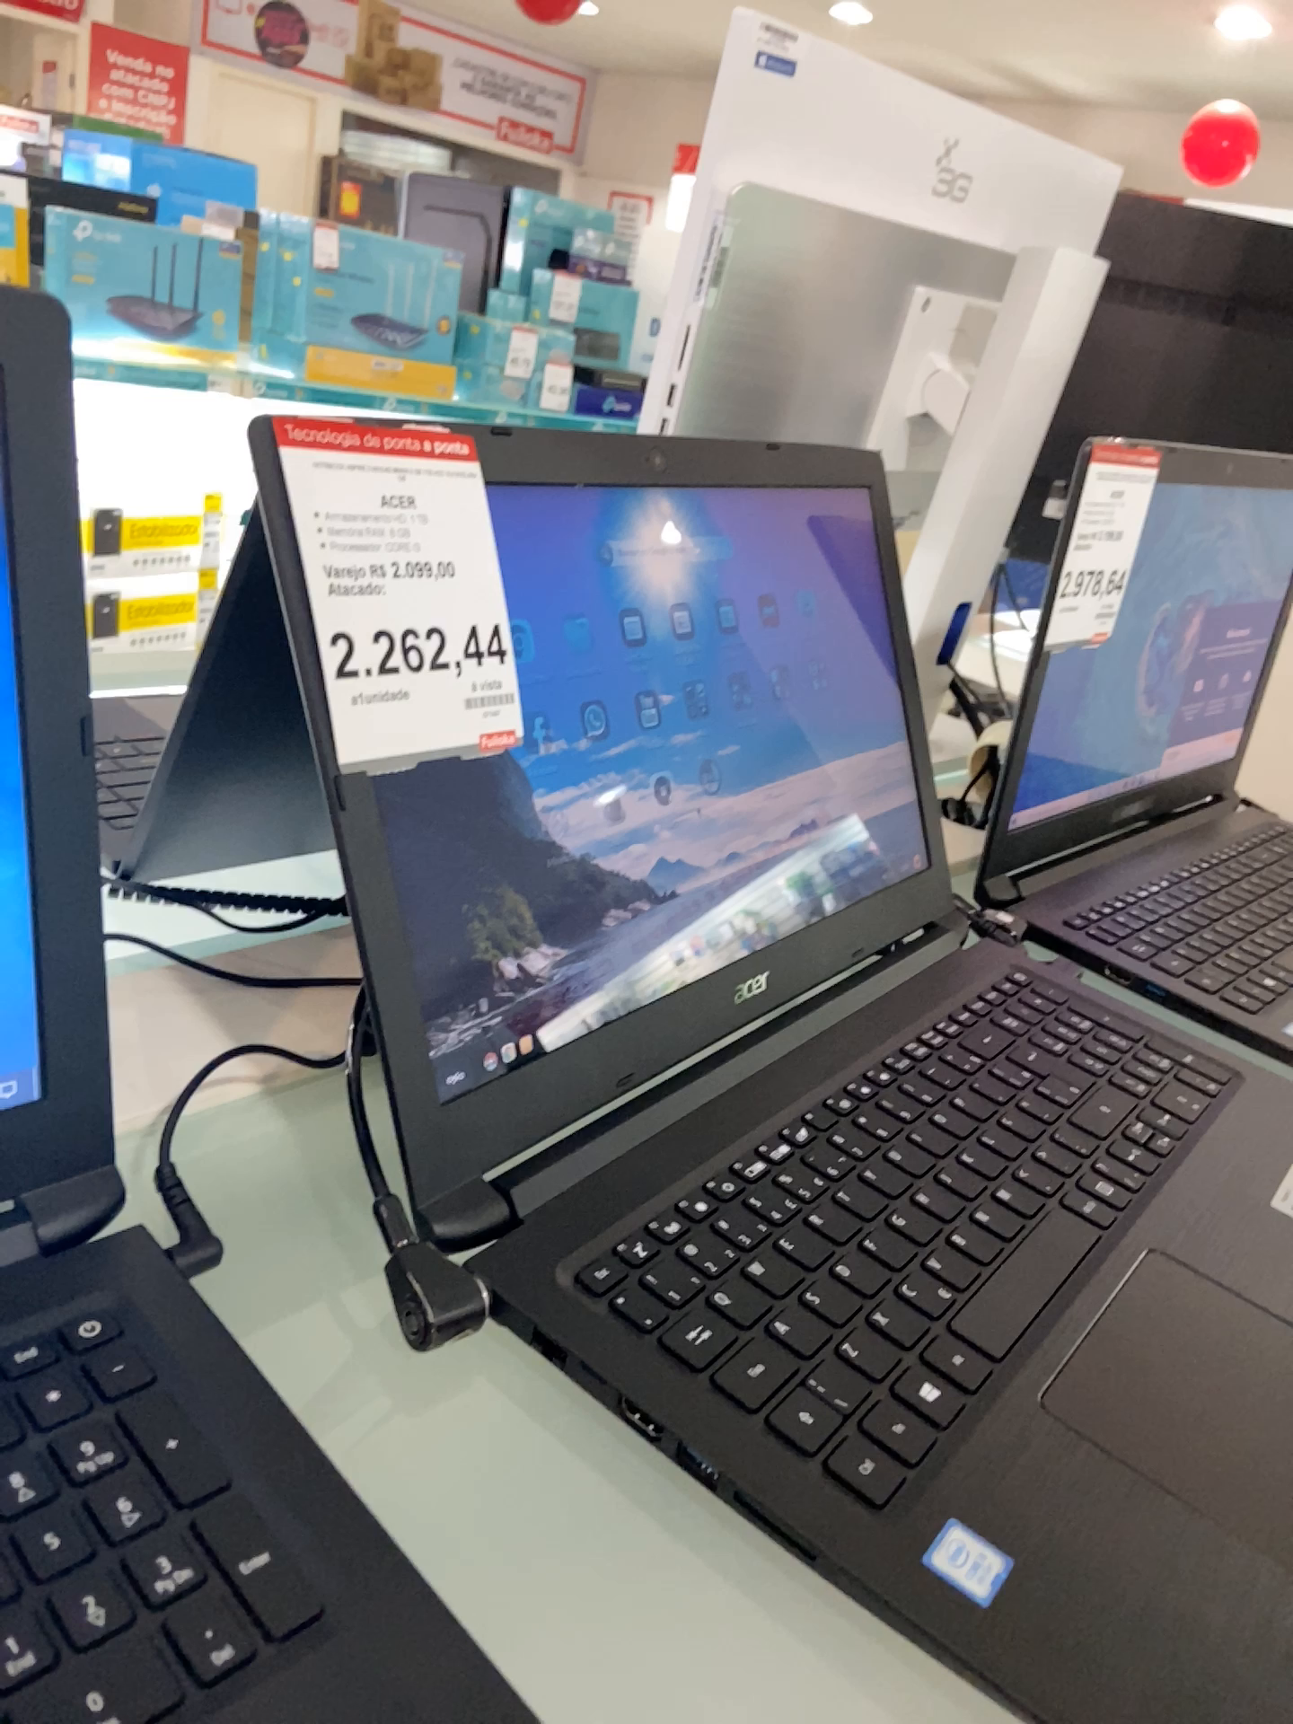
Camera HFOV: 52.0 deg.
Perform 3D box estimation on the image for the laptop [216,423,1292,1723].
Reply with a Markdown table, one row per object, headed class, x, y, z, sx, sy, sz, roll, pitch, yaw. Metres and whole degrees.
| class | x | y | z | sx | sy | sz | roll | pitch | yaw |
| --- | --- | --- | --- | --- | --- | --- | --- | --- | --- |
| laptop | 0.129 | 0.004 | 0.485 | 0.375 | 0.227 | 0.390 | 26 | 26 | 32 |
